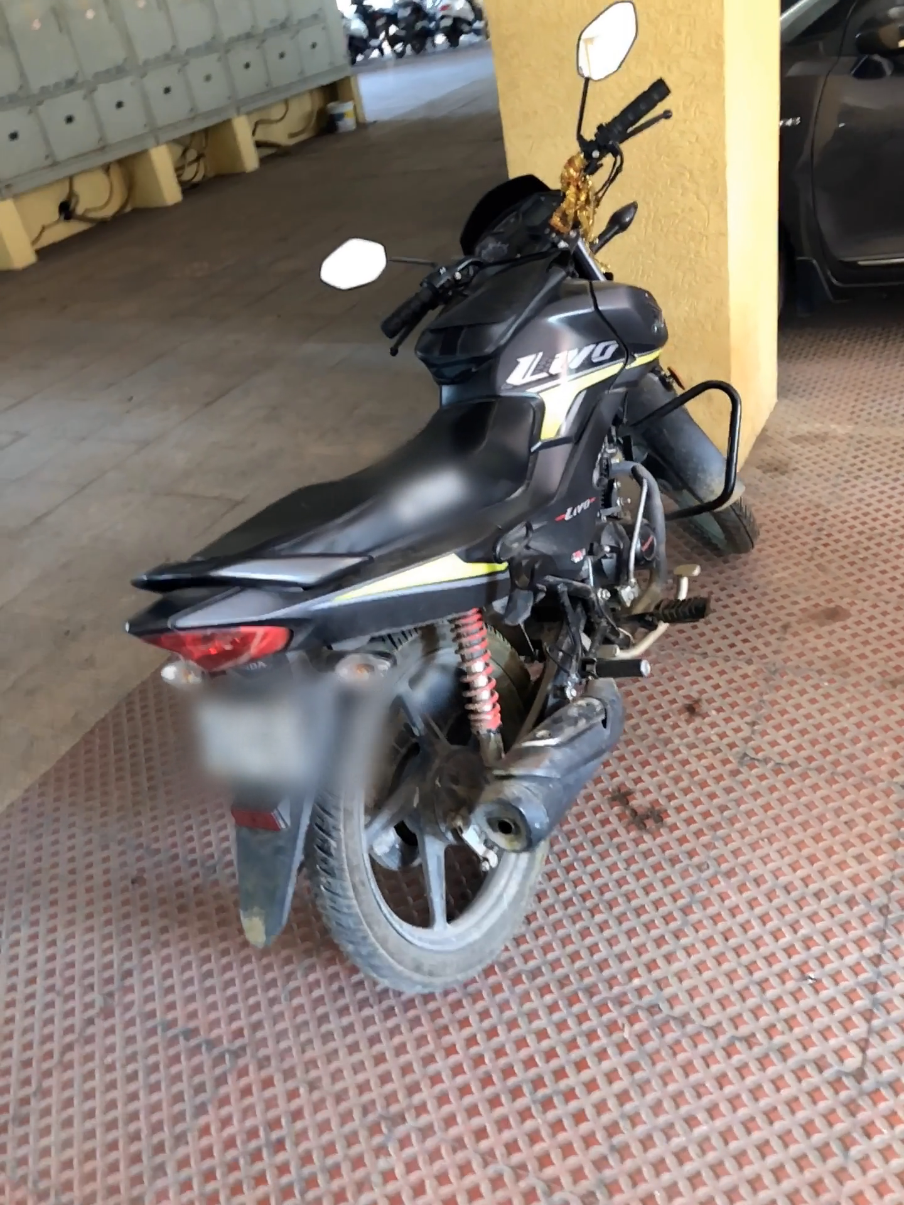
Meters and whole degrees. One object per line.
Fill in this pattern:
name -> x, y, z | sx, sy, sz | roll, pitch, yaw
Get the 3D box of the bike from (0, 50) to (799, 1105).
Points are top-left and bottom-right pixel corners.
bike -> 0.088, -0.225, 1.832 | 0.718, 1.088, 1.626 | 8, 37, 28
